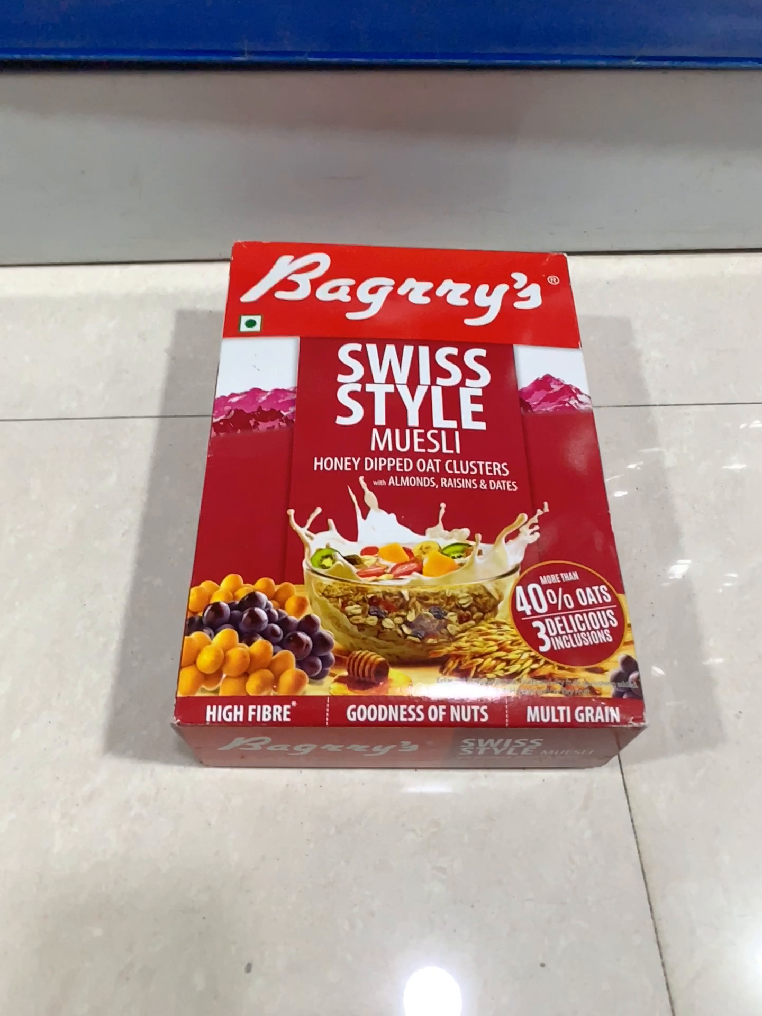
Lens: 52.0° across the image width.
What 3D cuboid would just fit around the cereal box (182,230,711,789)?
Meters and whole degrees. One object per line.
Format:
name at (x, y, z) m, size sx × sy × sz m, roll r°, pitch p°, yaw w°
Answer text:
cereal box at (0.023, -0.008, 0.378) m, size 0.190 × 0.080 × 0.260 m, roll 1°, pitch 60°, yaw -2°
